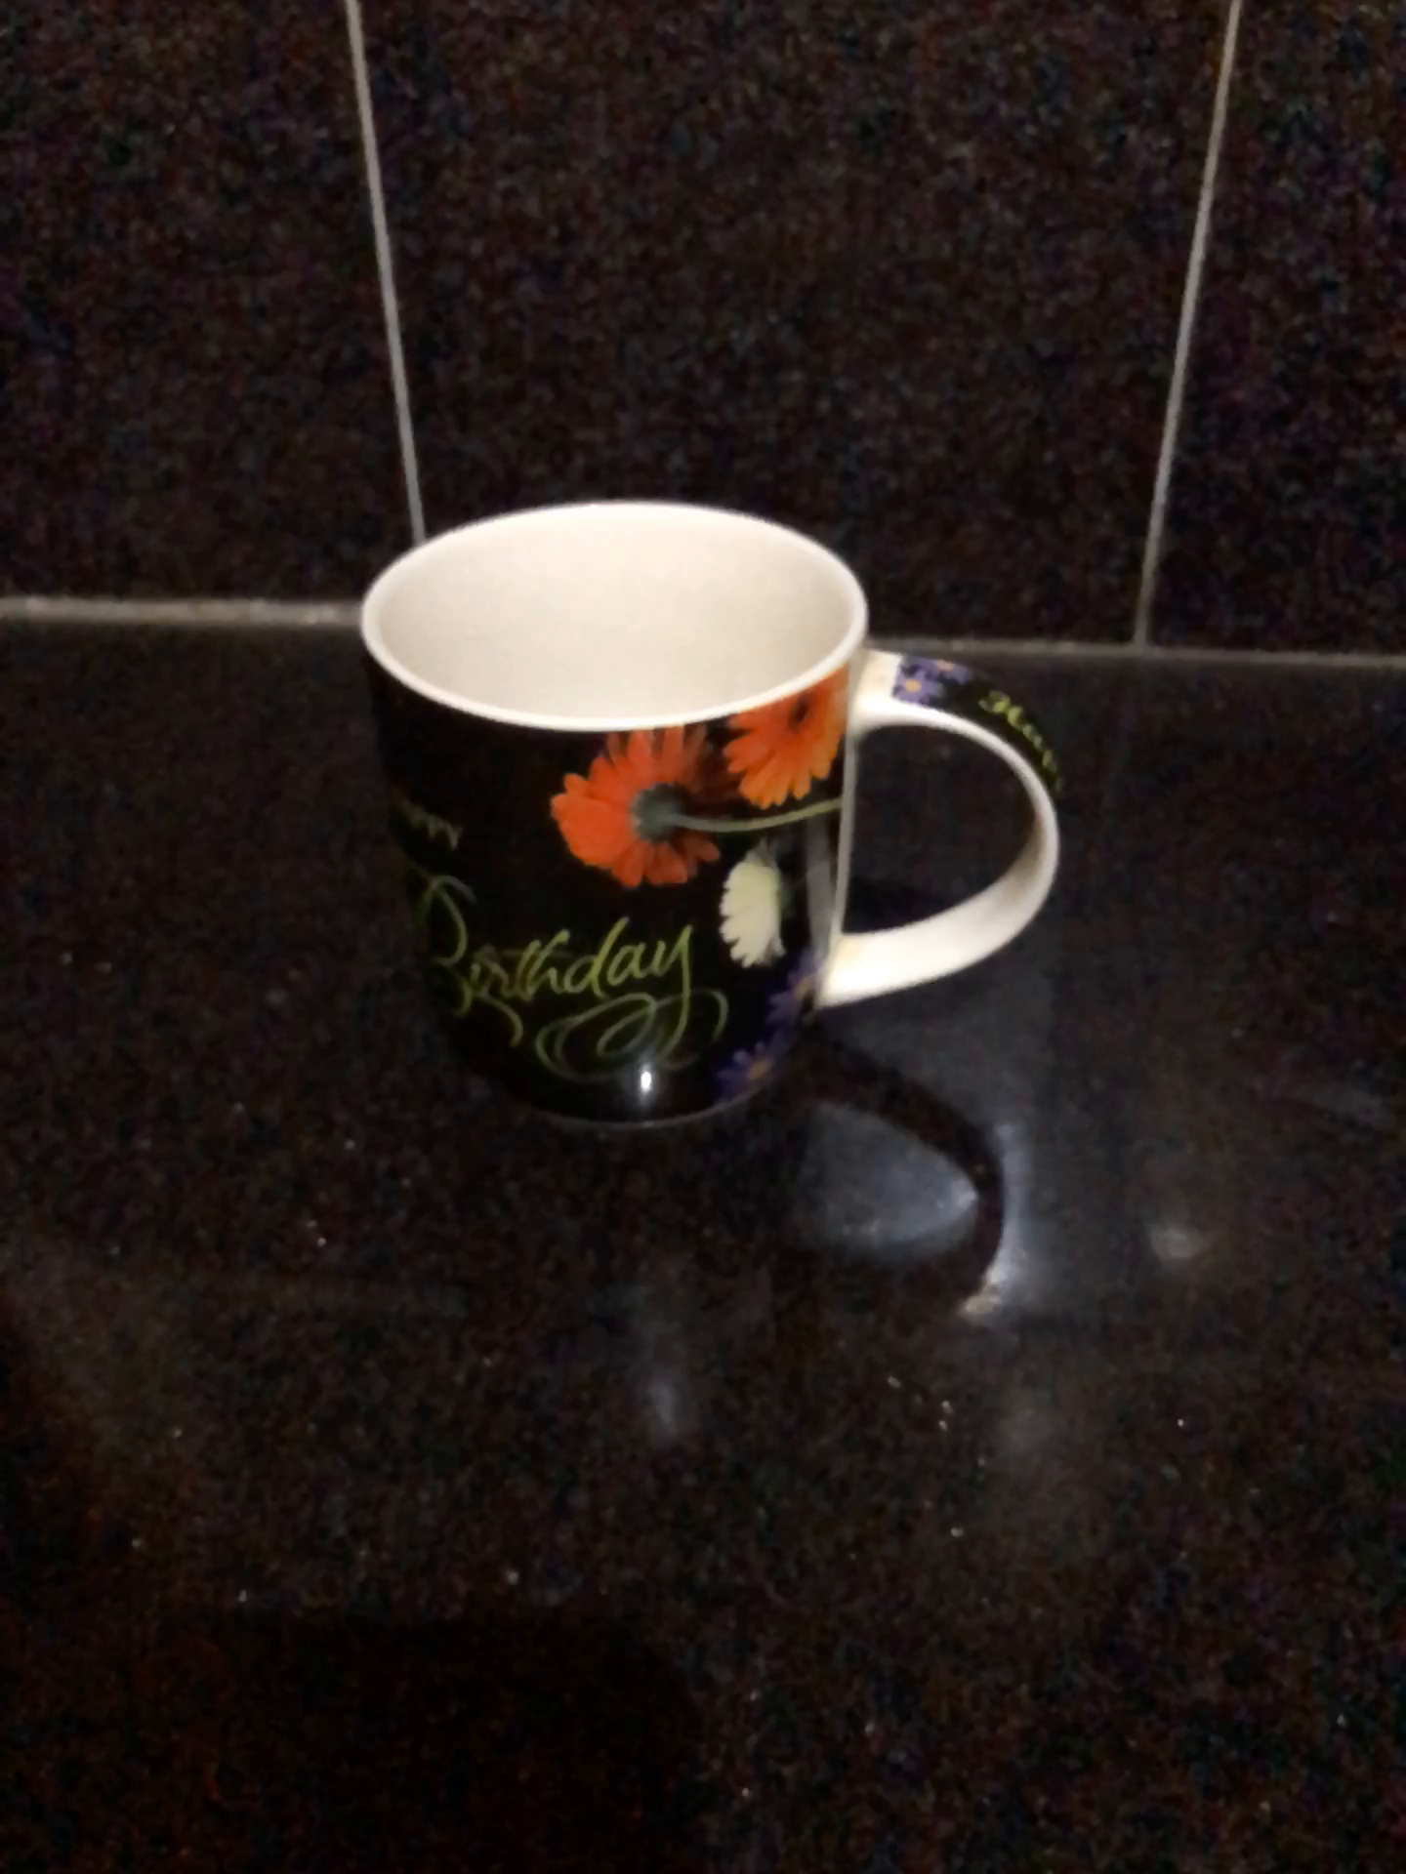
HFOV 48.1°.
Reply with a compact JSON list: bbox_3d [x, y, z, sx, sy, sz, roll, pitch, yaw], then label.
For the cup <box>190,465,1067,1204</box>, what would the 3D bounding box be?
[{"bbox_3d":[-0.005,-0.023,0.291,0.130,0.089,0.091,6,38,8],"label":"cup"}]
